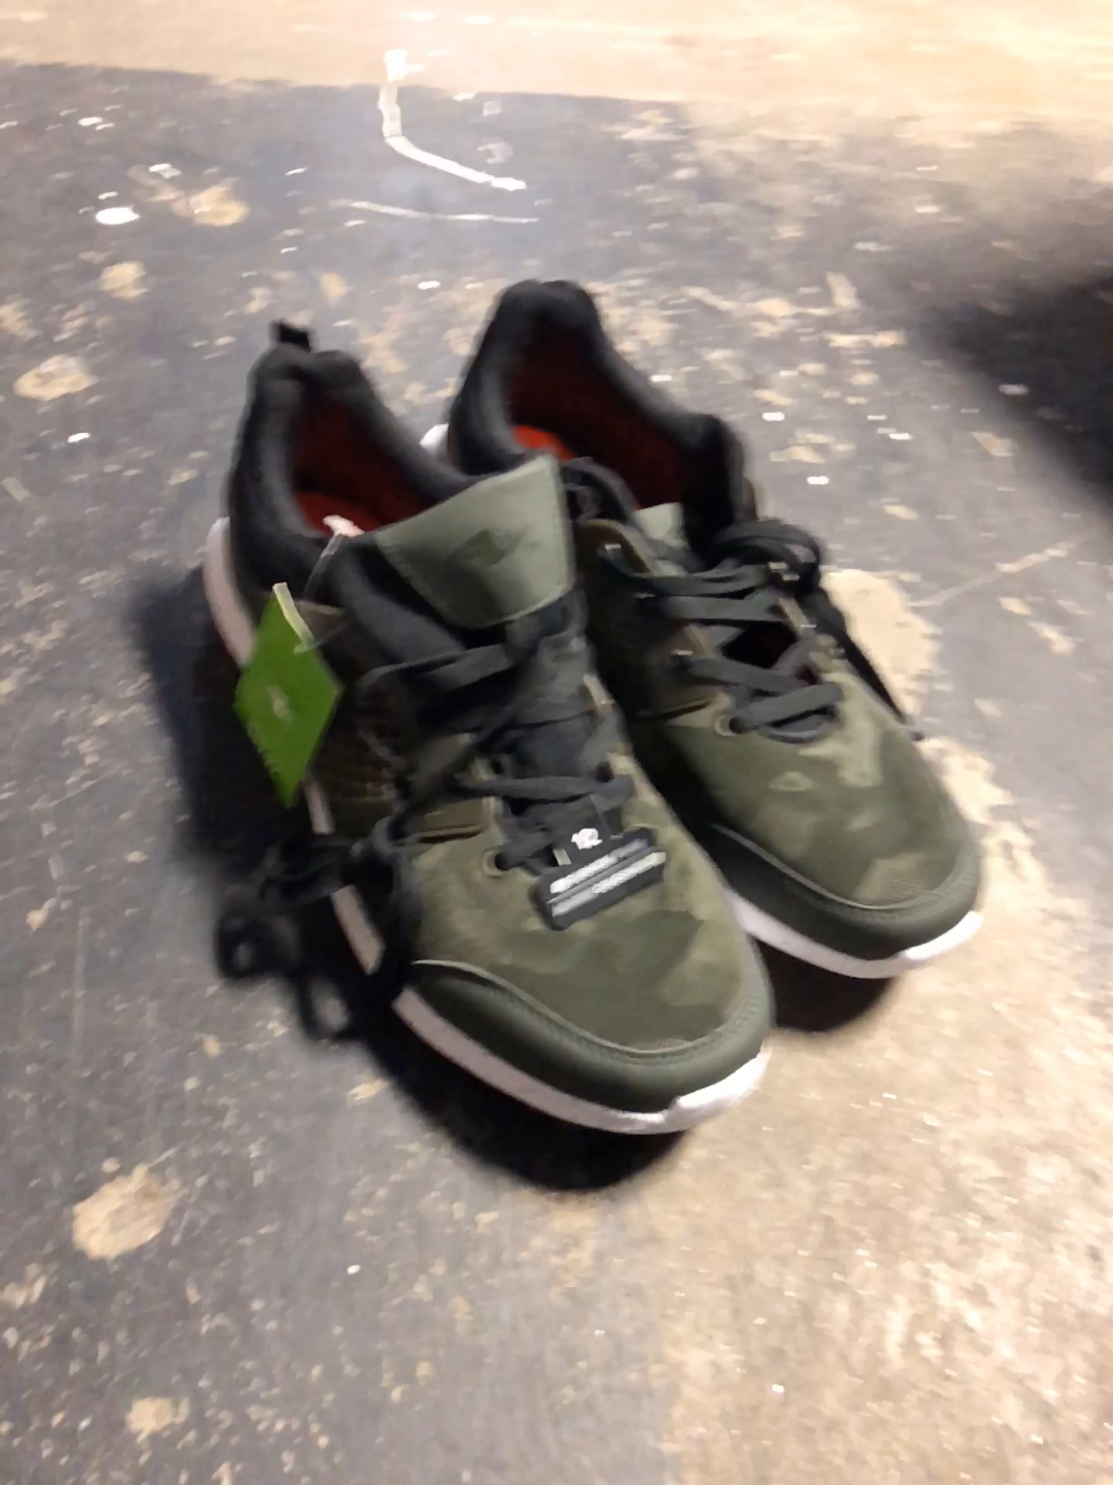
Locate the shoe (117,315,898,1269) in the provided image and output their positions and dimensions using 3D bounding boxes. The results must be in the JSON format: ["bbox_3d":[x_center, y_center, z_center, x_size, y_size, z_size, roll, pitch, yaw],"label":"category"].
[{"bbox_3d":[-0.038,0.001,0.428,0.110,0.119,0.301,-22,61,-24],"label":"shoe"}]

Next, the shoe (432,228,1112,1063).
[{"bbox_3d":[0.069,-0.046,0.453,0.110,0.129,0.271,-22,61,-24],"label":"shoe"}]
